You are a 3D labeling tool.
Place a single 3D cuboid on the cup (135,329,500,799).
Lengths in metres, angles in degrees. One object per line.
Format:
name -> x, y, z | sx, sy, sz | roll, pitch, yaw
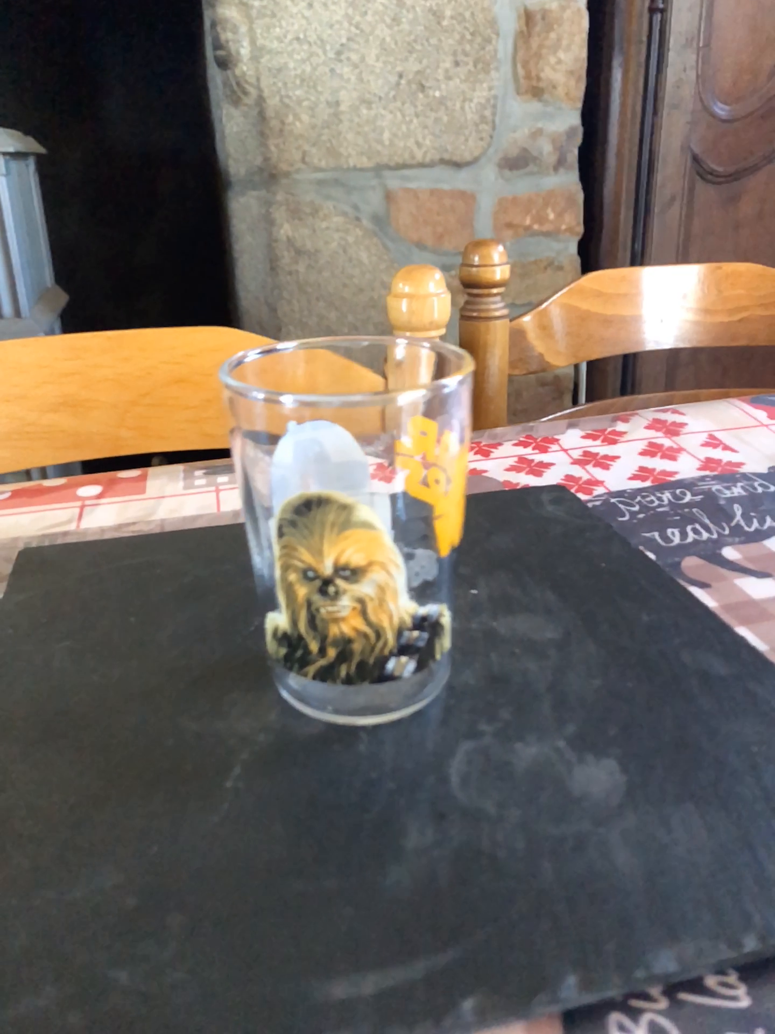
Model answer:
cup -> -0.012, 0.007, 0.231 | 0.070, 0.099, 0.070 | -1, 22, 1
